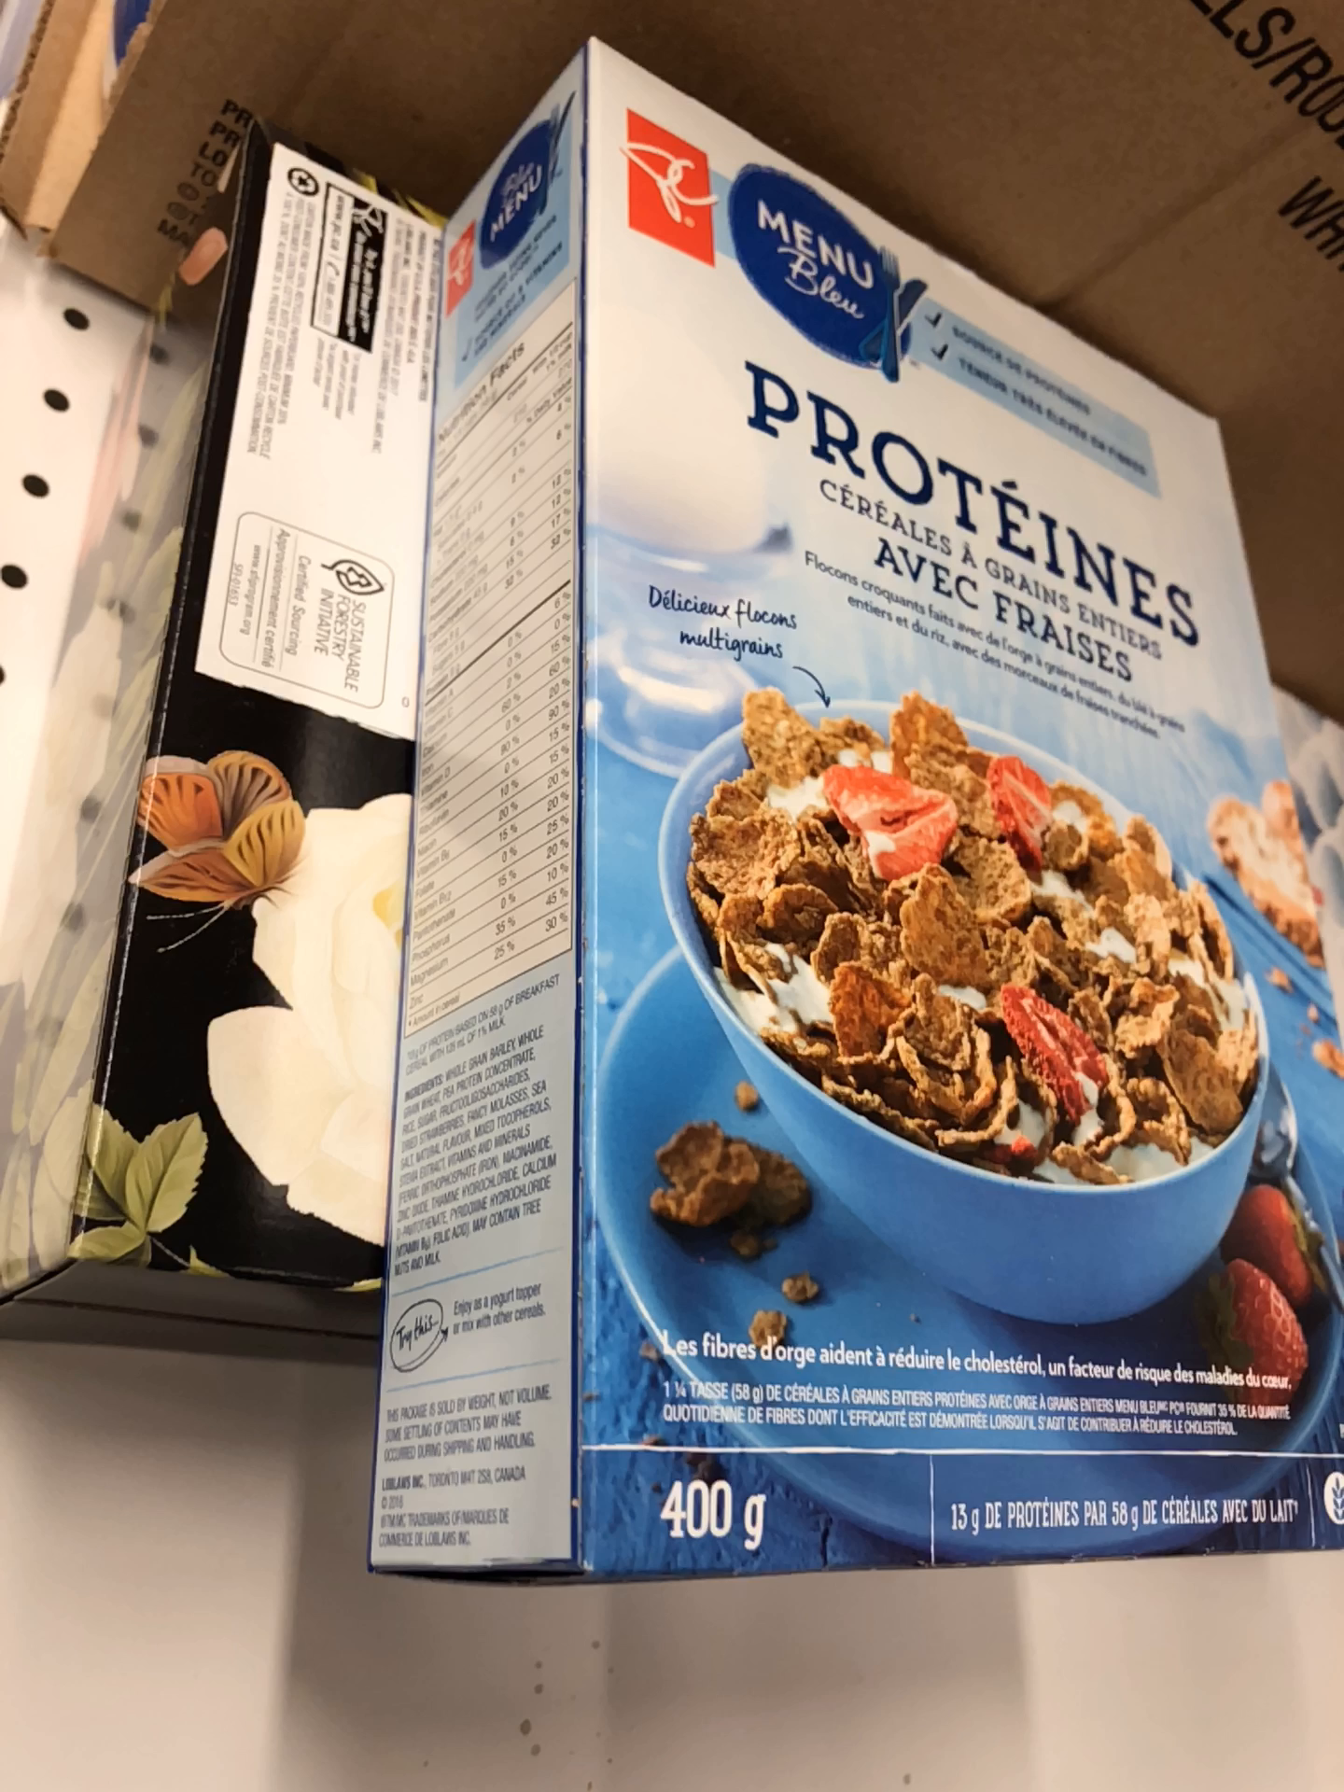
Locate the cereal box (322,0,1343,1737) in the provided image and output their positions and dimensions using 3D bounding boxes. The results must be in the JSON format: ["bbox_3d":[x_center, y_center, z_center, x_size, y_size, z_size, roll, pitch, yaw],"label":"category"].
[{"bbox_3d":[0.047,-0.007,0.263,0.191,0.050,0.250,13,62,-32],"label":"cereal box"}]
